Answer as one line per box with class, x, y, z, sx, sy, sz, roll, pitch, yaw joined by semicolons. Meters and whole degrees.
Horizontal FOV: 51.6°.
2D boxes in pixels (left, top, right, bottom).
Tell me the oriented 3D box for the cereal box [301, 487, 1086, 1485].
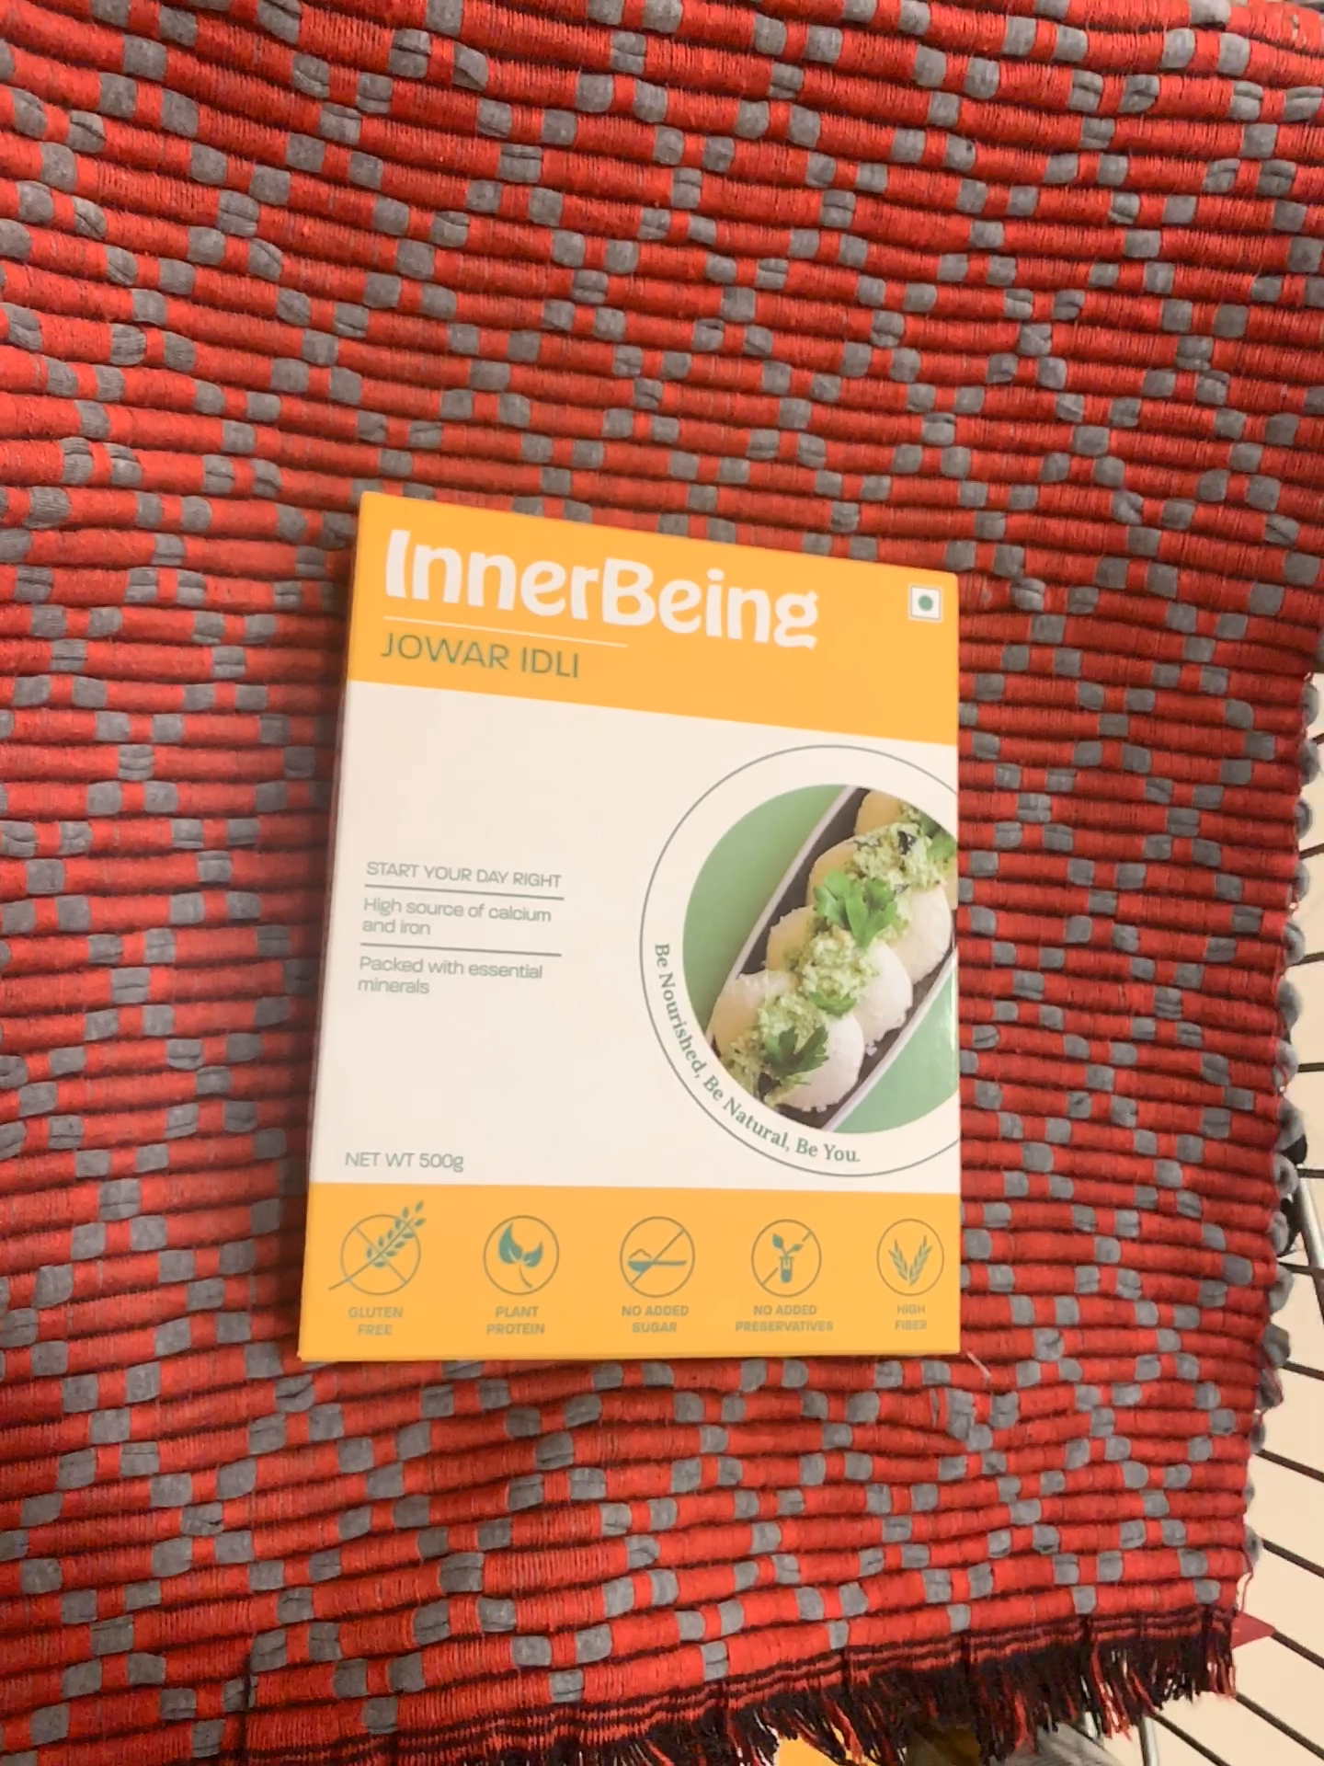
cereal box;-0.001;0.022;0.311;0.150;0.070;0.190;2;74;-17
